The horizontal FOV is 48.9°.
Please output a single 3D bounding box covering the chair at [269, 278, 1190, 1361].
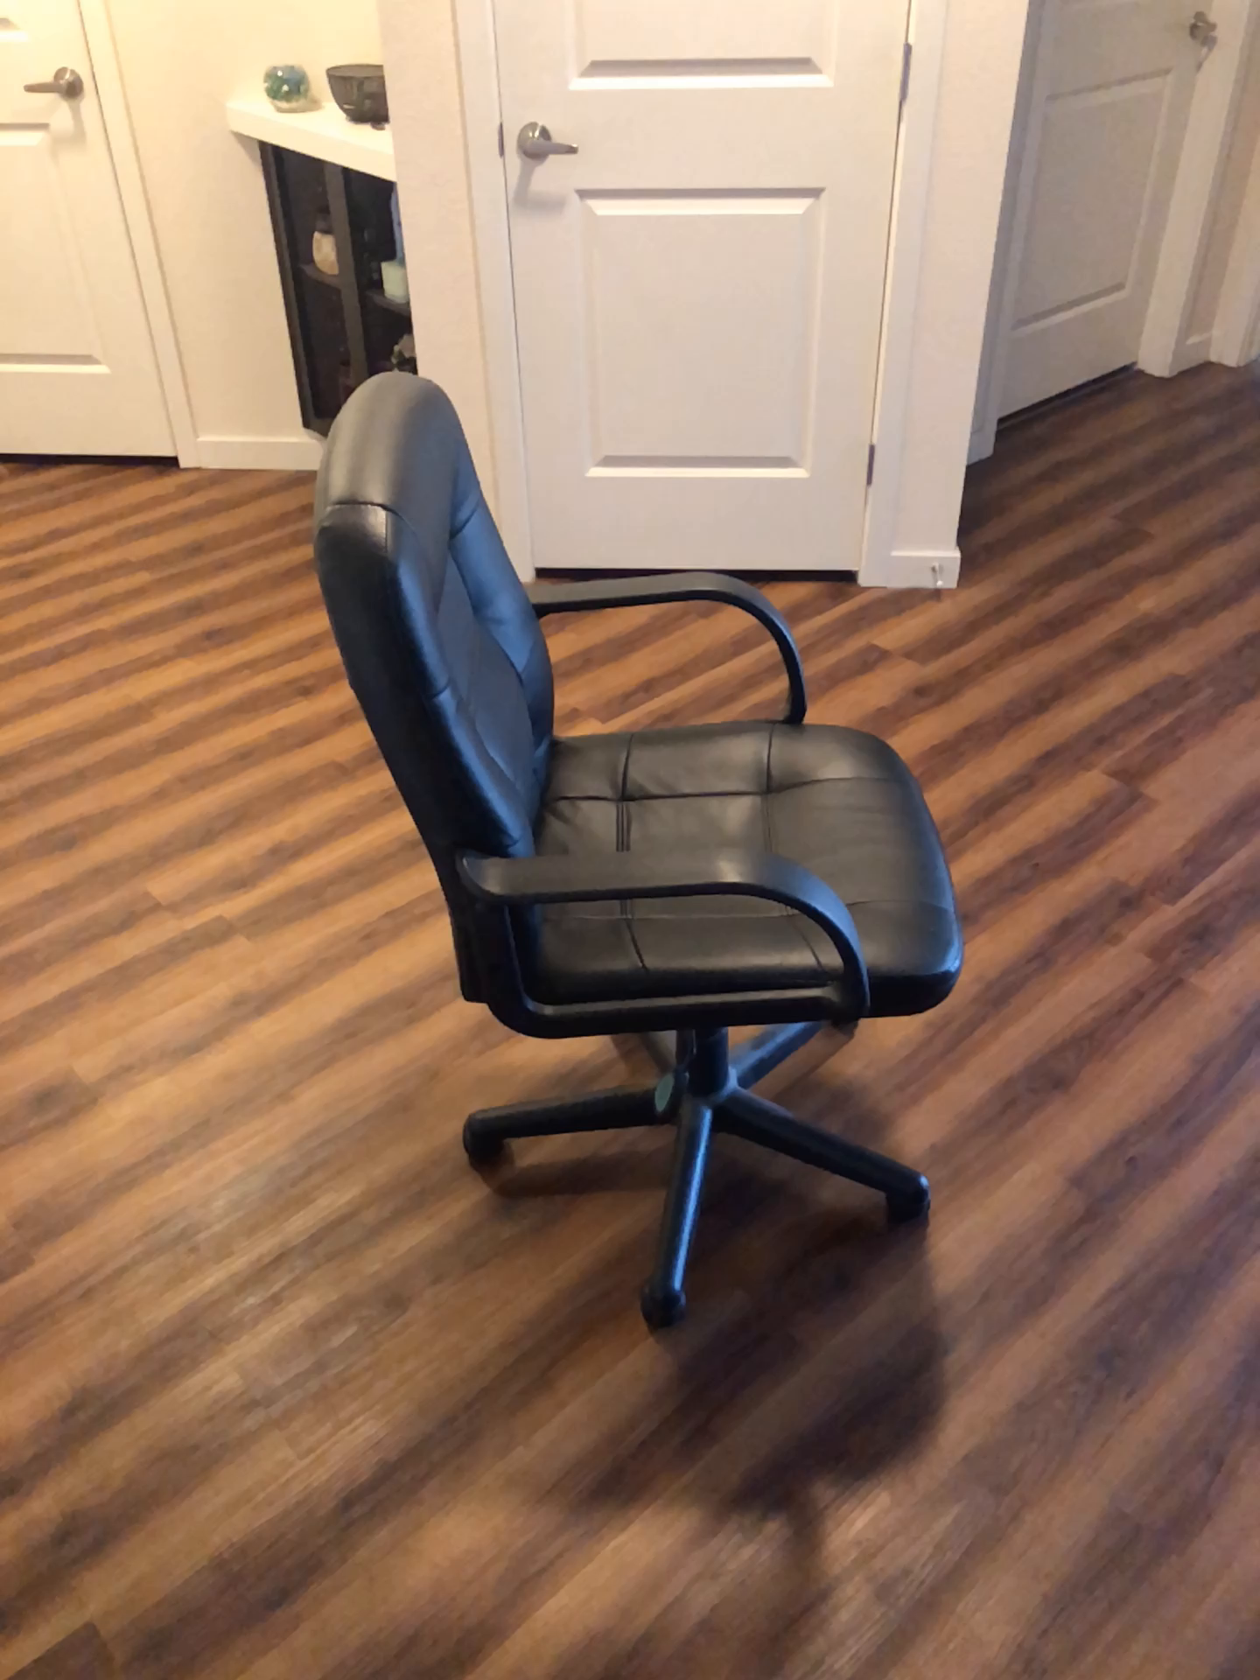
[{"bbox_3d":[0.070,-0.010,1.570,0.667,1.012,0.666,-2,37,-1],"label":"chair"}]
